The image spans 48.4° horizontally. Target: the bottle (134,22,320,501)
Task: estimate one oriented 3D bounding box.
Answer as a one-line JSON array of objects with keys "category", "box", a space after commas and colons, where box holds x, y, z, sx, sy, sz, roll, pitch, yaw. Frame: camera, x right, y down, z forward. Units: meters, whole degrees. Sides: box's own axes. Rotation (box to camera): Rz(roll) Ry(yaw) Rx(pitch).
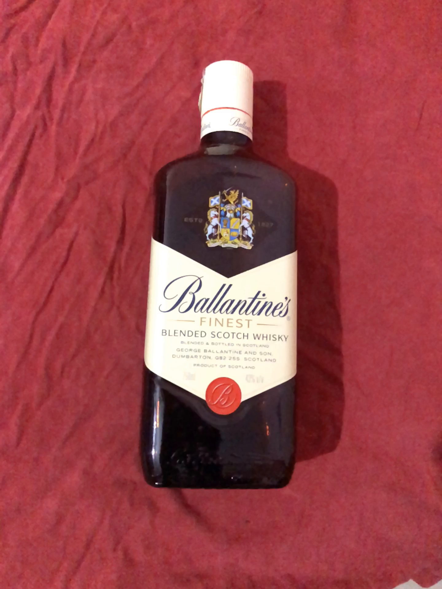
[{"category": "bottle", "box": [0.003, -0.018, 0.285, 0.090, 0.050, 0.250, 3, 84, -9]}]
